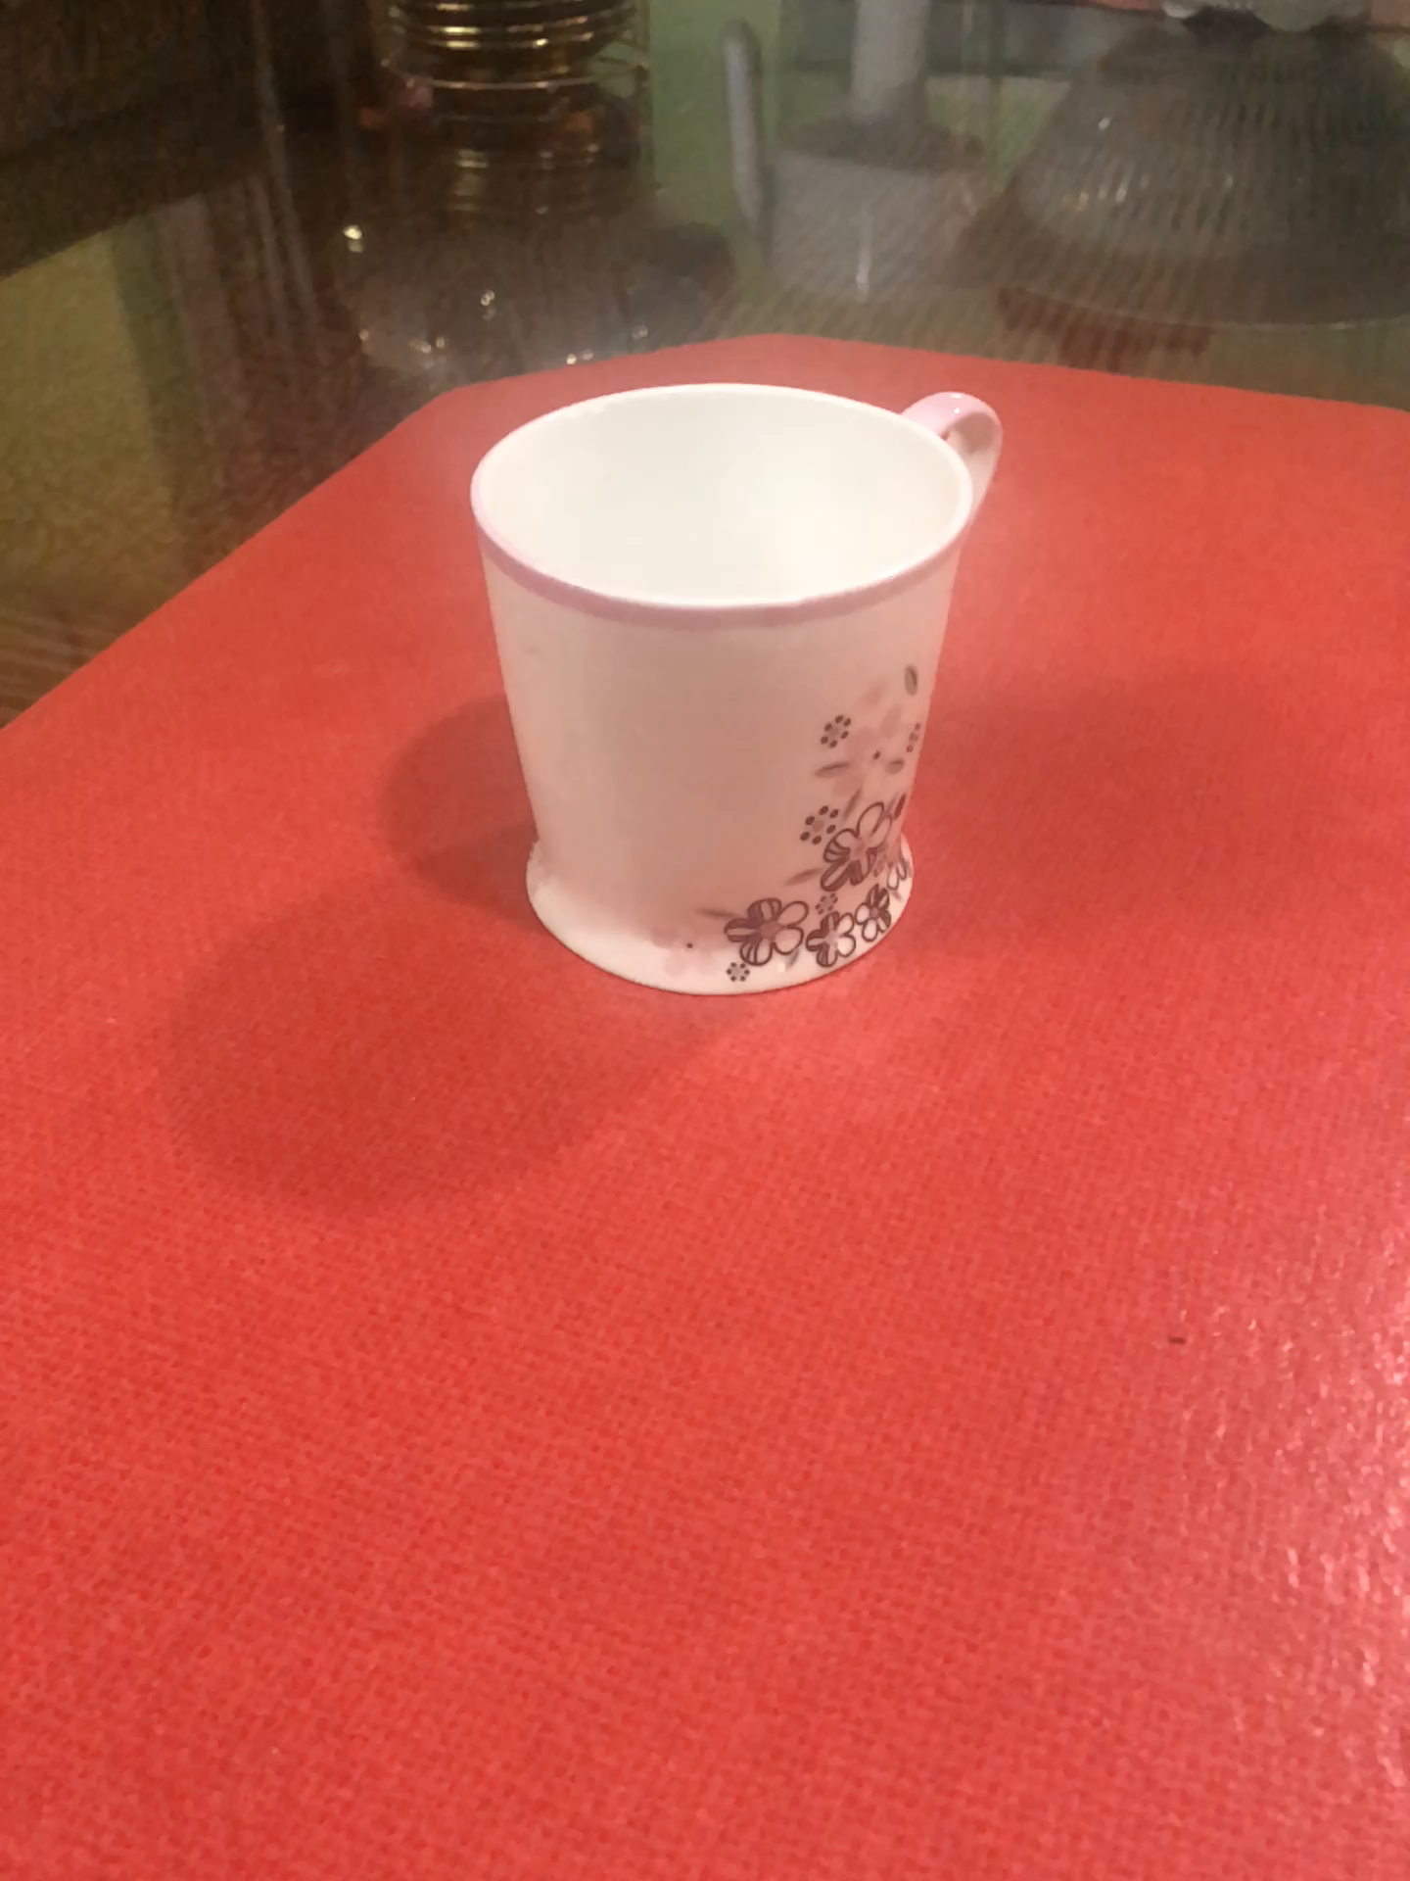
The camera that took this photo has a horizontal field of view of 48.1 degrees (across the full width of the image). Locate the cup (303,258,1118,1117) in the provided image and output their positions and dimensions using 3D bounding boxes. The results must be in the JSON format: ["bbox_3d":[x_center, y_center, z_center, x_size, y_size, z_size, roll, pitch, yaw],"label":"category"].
[{"bbox_3d":[0.006,-0.045,0.246,0.070,0.080,0.100,22,46,25],"label":"cup"}]
